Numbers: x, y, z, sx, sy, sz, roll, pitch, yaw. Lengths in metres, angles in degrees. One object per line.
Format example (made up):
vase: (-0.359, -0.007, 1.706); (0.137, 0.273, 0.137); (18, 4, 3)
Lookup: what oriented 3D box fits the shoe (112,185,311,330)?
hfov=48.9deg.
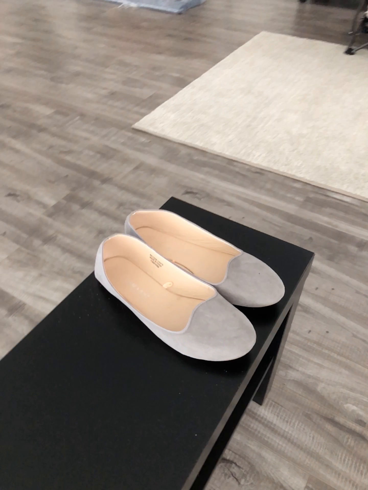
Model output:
shoe: (0.032, 0.007, 0.570); (0.257, 0.060, 0.100); (25, 51, 25)

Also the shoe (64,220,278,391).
shoe: (-0.021, 0.064, 0.514); (0.251, 0.060, 0.100); (25, 51, 25)
